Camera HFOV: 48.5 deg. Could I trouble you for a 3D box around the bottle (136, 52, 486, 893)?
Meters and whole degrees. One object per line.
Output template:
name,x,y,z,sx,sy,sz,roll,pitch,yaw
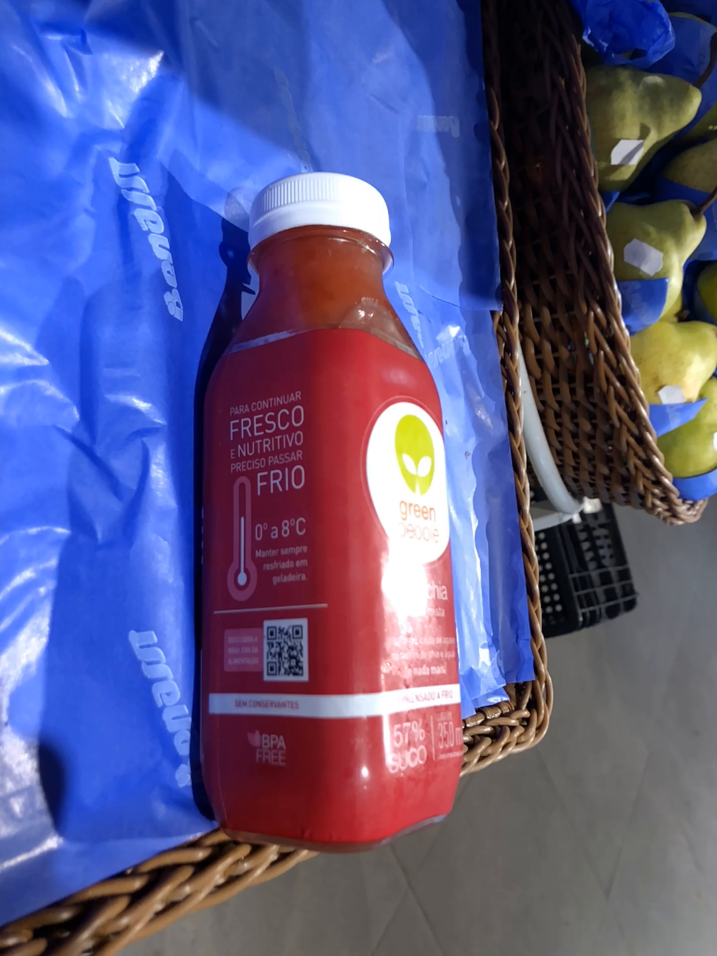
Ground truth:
bottle,-0.012,-0.003,0.215,0.060,0.060,0.190,16,68,-51
